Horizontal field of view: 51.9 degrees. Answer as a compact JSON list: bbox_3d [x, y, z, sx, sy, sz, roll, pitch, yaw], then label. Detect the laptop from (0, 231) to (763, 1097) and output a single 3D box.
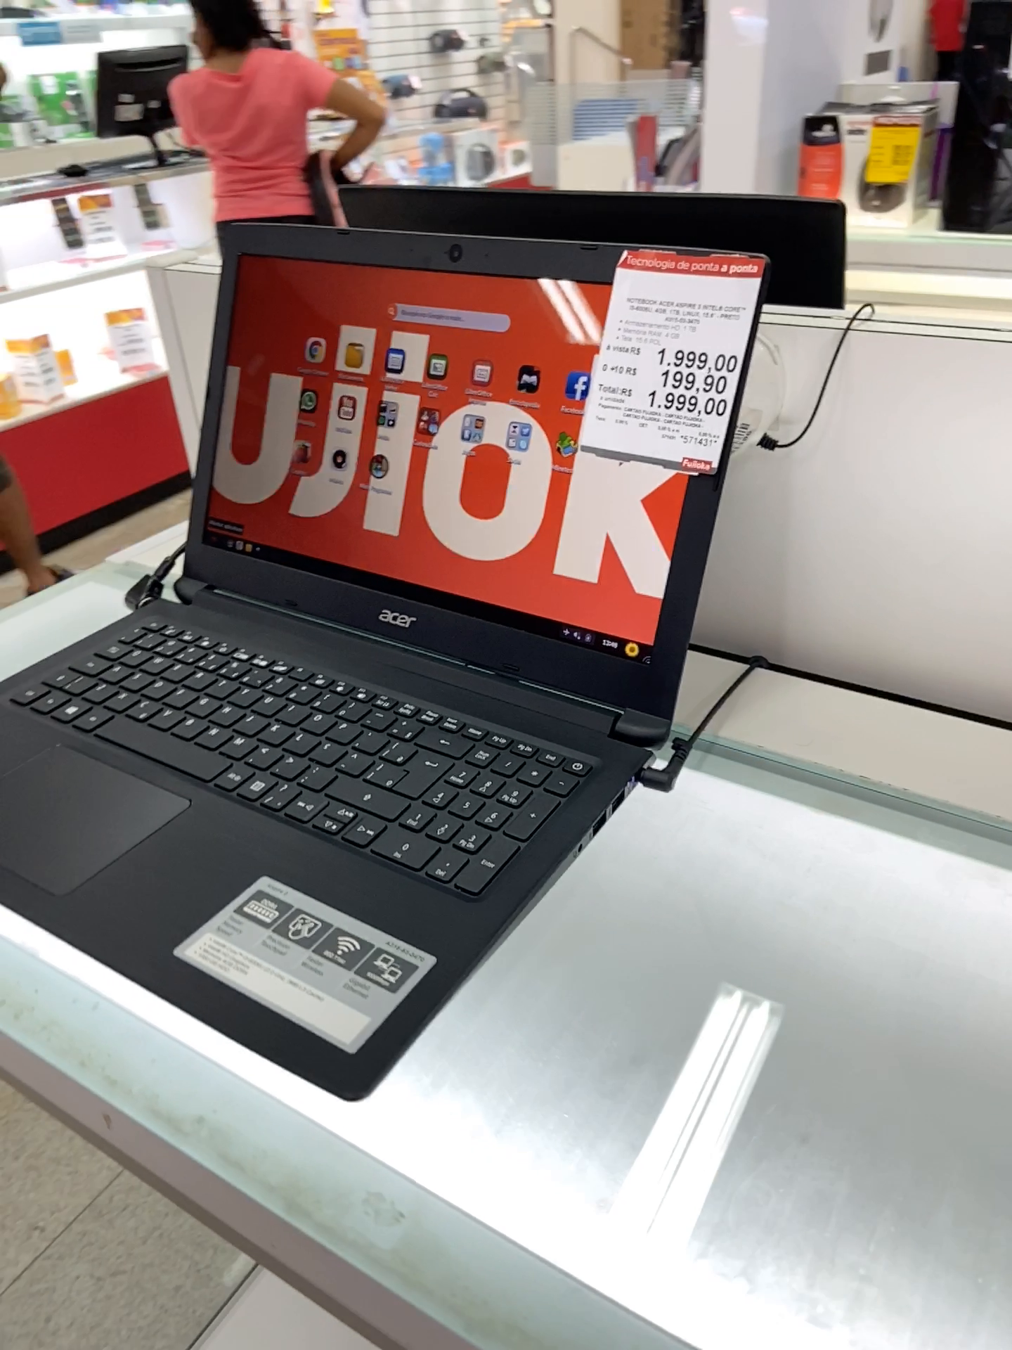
[{"bbox_3d":[-0.127,-0.076,0.548,0.392,0.230,0.371,16,36,29],"label":"laptop"}]
